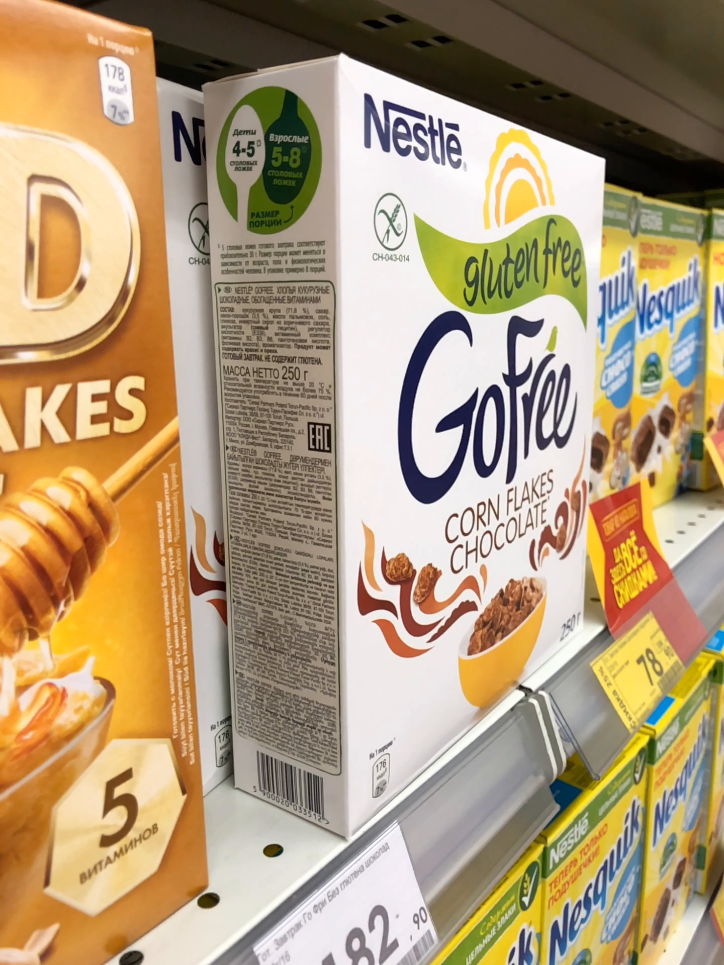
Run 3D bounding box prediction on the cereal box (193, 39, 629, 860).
[{"bbox_3d":[0.036,-0.018,0.305,0.050,0.219,0.201,8,14,37],"label":"cereal box"}]
